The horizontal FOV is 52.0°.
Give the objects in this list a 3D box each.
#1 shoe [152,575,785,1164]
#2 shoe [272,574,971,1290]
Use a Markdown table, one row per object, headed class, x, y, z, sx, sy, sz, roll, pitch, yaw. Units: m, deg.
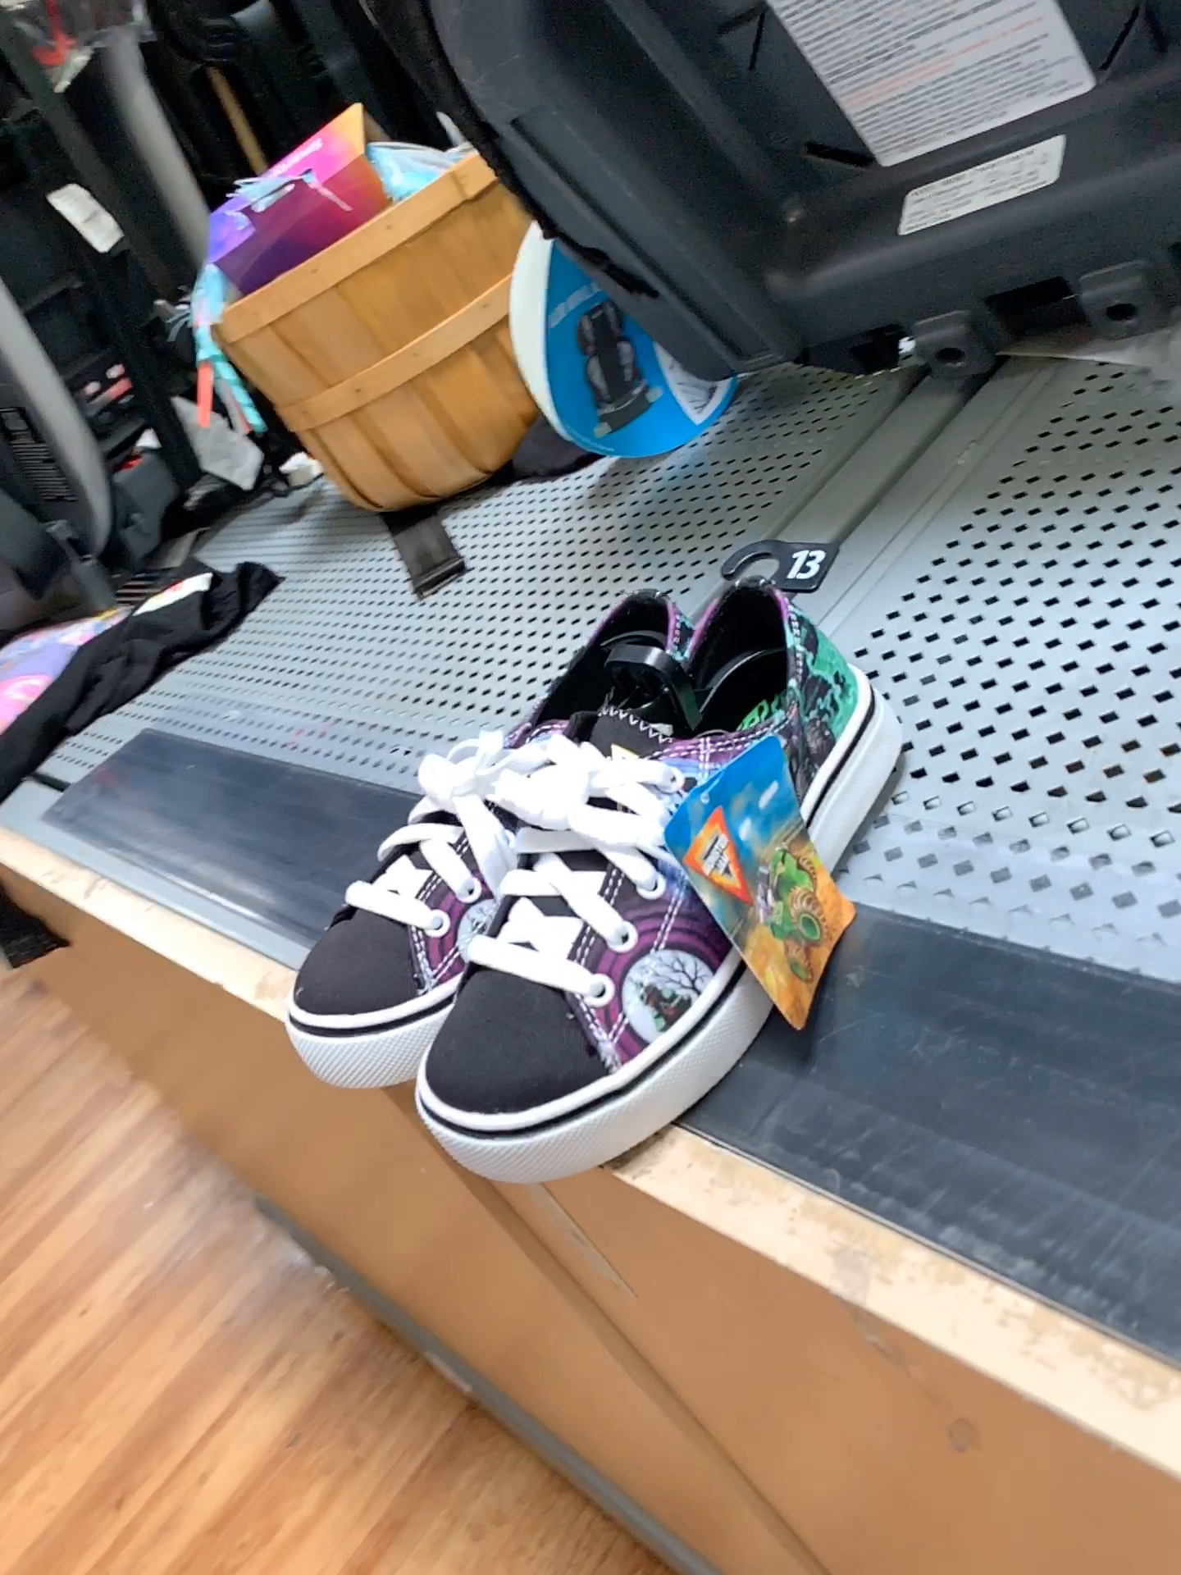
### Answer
| class | x | y | z | sx | sy | sz | roll | pitch | yaw |
| --- | --- | --- | --- | --- | --- | --- | --- | --- | --- |
| shoe | -0.039 | 0.017 | 0.440 | 0.207 | 0.073 | 0.092 | -44 | 33 | -21 |
| shoe | 0.019 | 0.028 | 0.377 | 0.090 | 0.073 | 0.212 | 9 | 49 | 48 |
